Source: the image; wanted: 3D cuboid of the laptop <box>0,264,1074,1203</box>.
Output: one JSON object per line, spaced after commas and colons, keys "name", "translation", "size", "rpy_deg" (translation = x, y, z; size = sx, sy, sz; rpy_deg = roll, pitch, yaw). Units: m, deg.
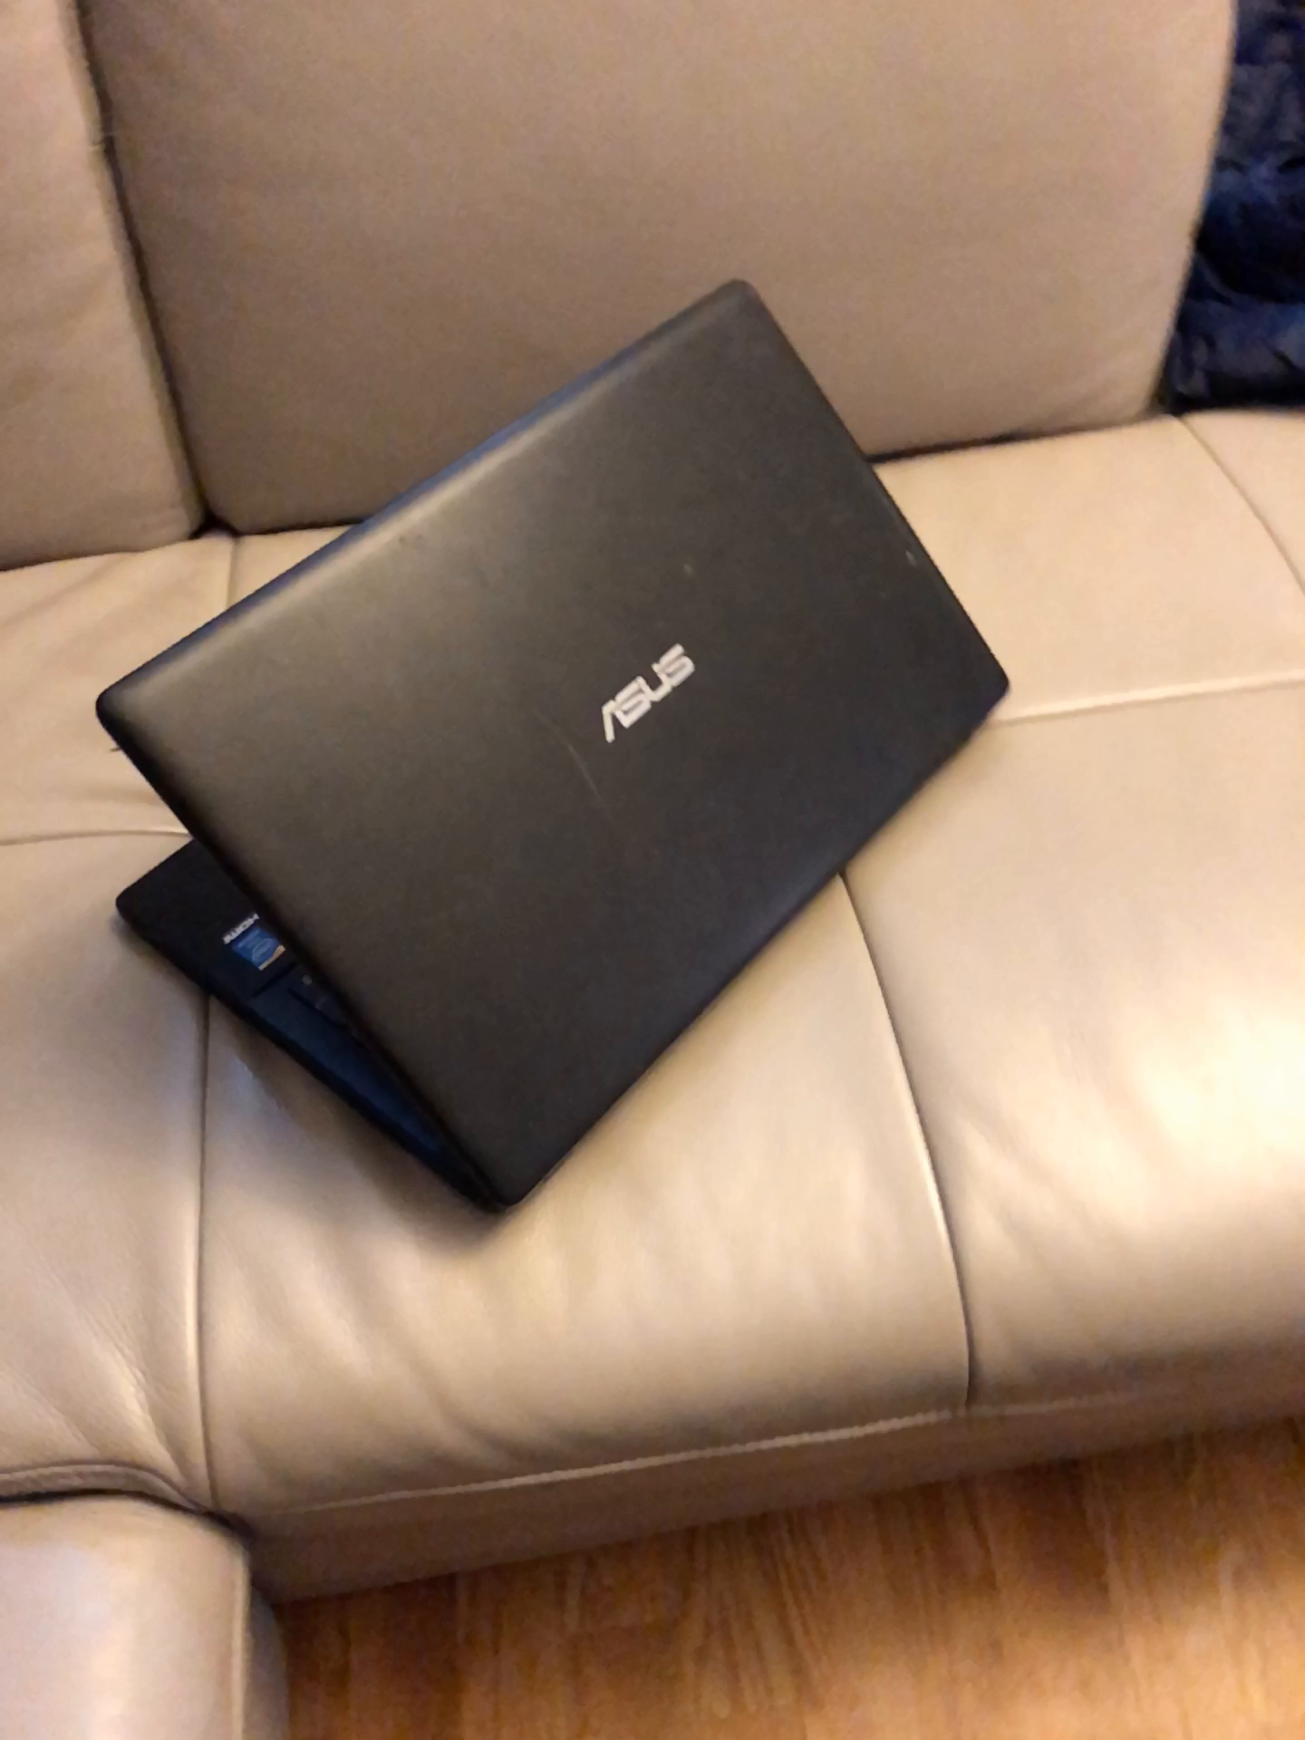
{"name": "laptop", "translation": [-0.031, -0.086, 0.636], "size": [0.242, 0.155, 0.371], "rpy_deg": [33, 59, 25]}
